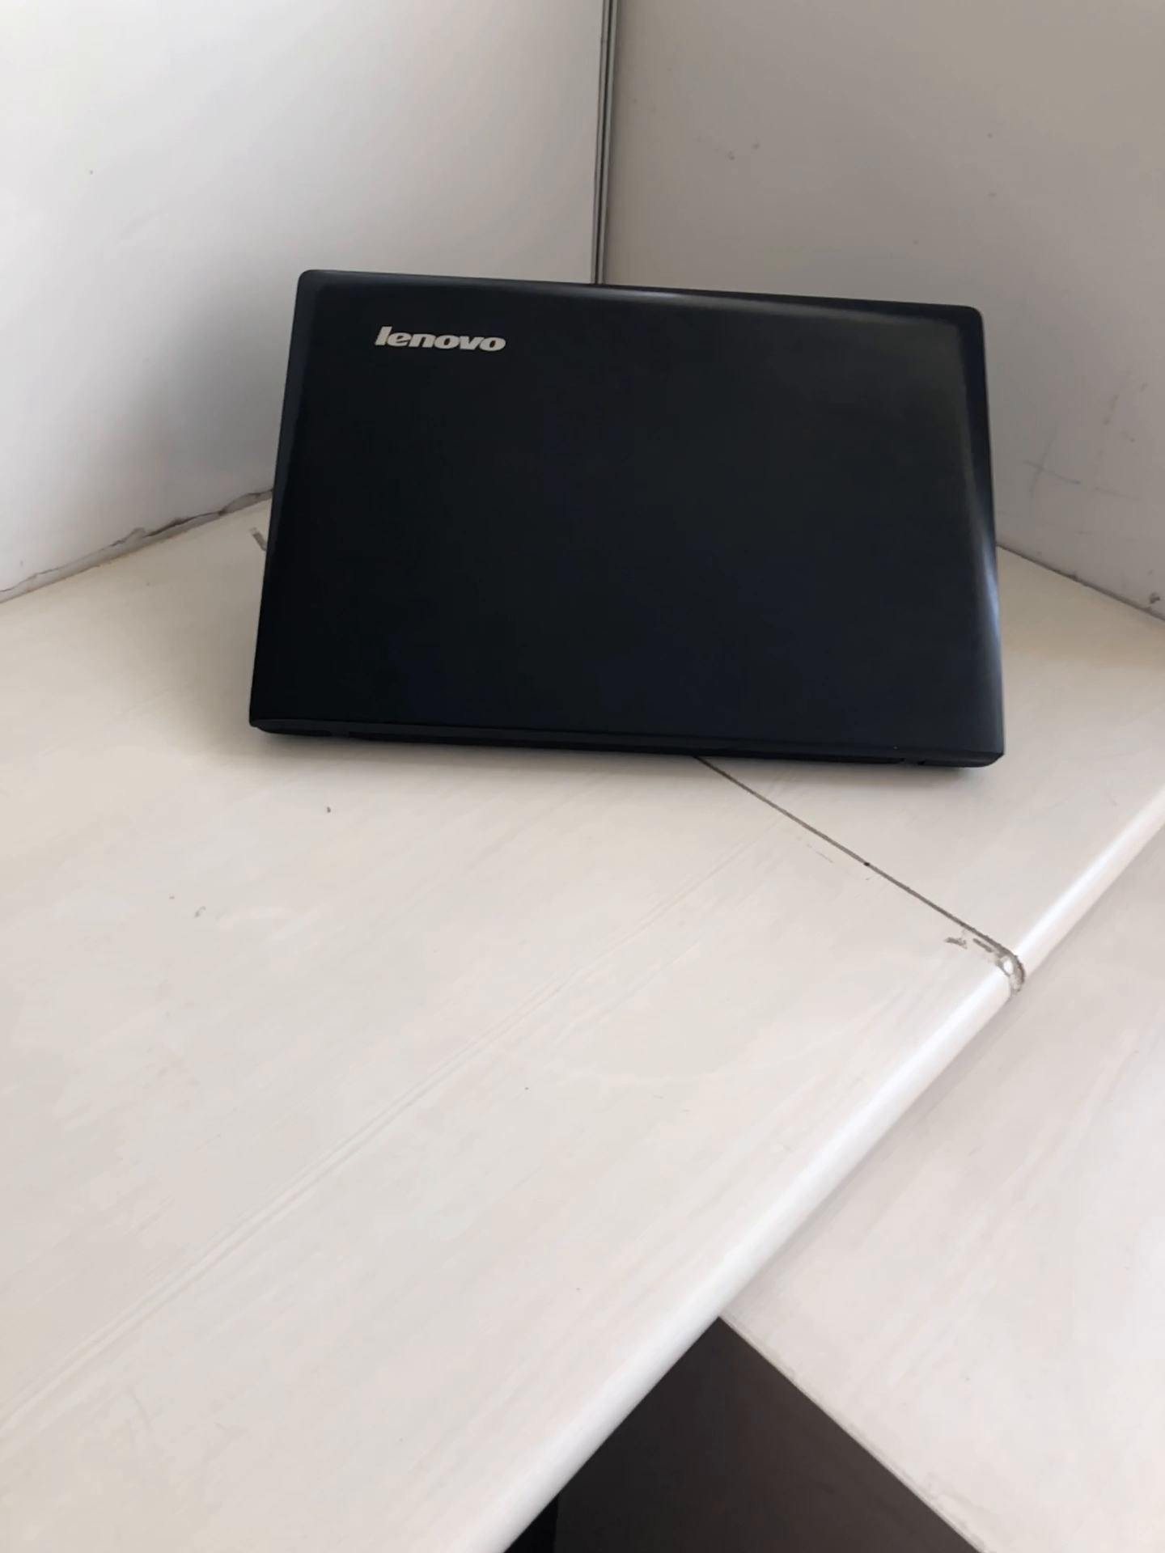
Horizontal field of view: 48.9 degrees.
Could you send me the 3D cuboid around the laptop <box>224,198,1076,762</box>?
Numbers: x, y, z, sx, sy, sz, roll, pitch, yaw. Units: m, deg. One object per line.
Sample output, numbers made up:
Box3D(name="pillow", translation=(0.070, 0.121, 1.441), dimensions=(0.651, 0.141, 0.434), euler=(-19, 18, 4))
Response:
Box3D(name="laptop", translation=(0.031, -0.169, 0.701), dimensions=(0.374, 0.161, 0.254), euler=(3, 44, -1))
